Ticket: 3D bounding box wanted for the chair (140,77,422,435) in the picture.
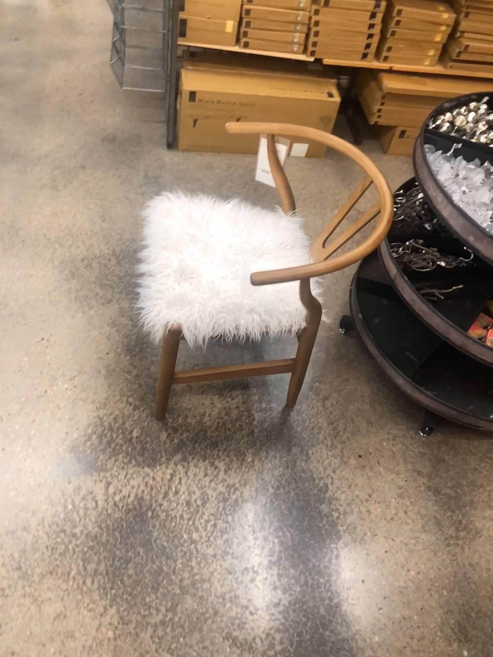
[{"bbox_3d":[0.007,-0.143,1.444,0.528,0.732,0.559,3,52,-8],"label":"chair"}]
